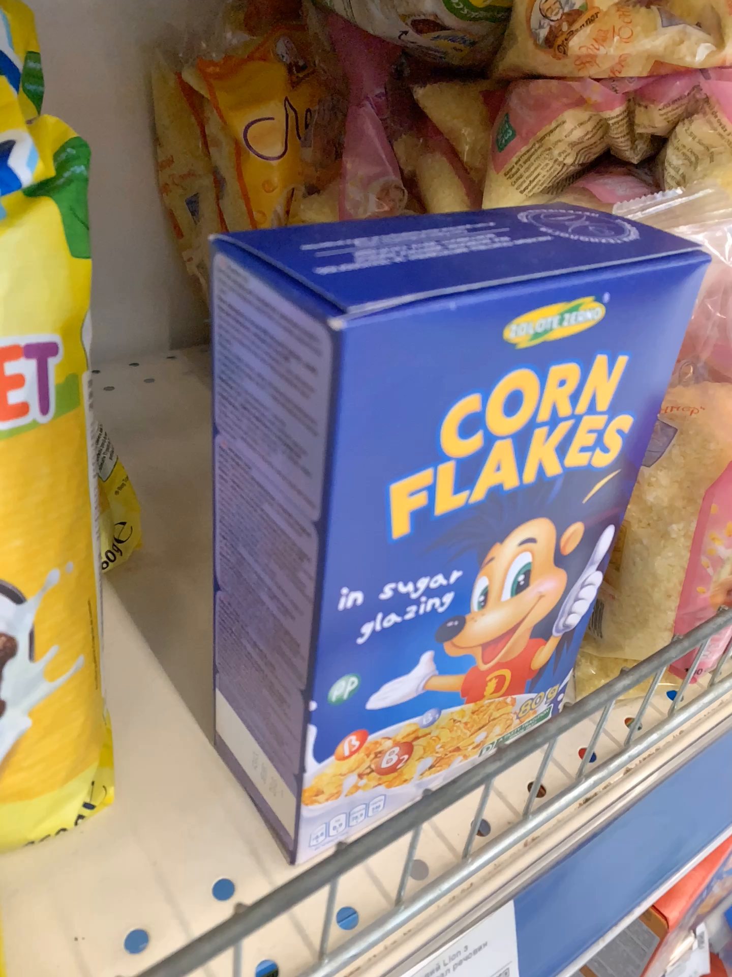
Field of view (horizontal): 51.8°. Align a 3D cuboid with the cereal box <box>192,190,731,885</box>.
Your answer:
[{"bbox_3d":[0.026,0.011,0.207,0.130,0.158,0.050,-18,41,-31],"label":"cereal box"}]
